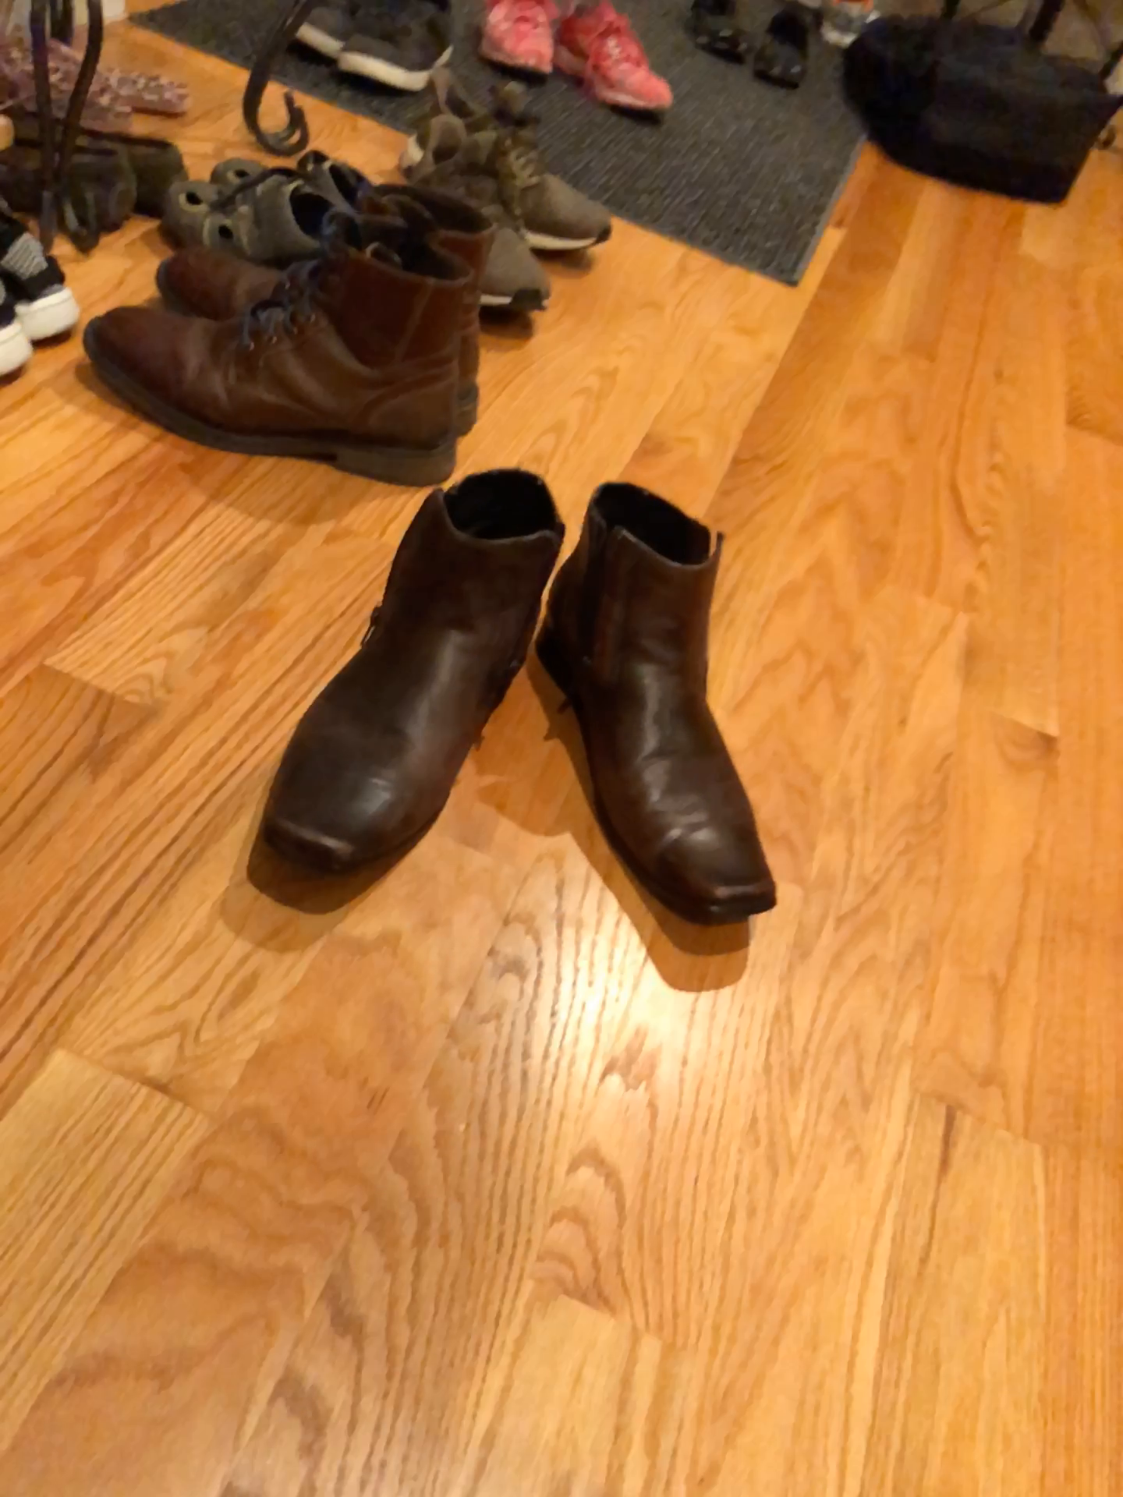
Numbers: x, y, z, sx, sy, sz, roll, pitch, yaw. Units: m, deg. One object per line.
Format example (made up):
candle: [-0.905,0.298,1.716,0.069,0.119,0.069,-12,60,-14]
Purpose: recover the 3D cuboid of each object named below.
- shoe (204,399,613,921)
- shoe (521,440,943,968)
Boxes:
shoe: [-0.081,-0.066,0.729,0.109,0.142,0.292,23,42,5]
shoe: [0.084,-0.039,0.768,0.109,0.152,0.301,-3,47,-22]
